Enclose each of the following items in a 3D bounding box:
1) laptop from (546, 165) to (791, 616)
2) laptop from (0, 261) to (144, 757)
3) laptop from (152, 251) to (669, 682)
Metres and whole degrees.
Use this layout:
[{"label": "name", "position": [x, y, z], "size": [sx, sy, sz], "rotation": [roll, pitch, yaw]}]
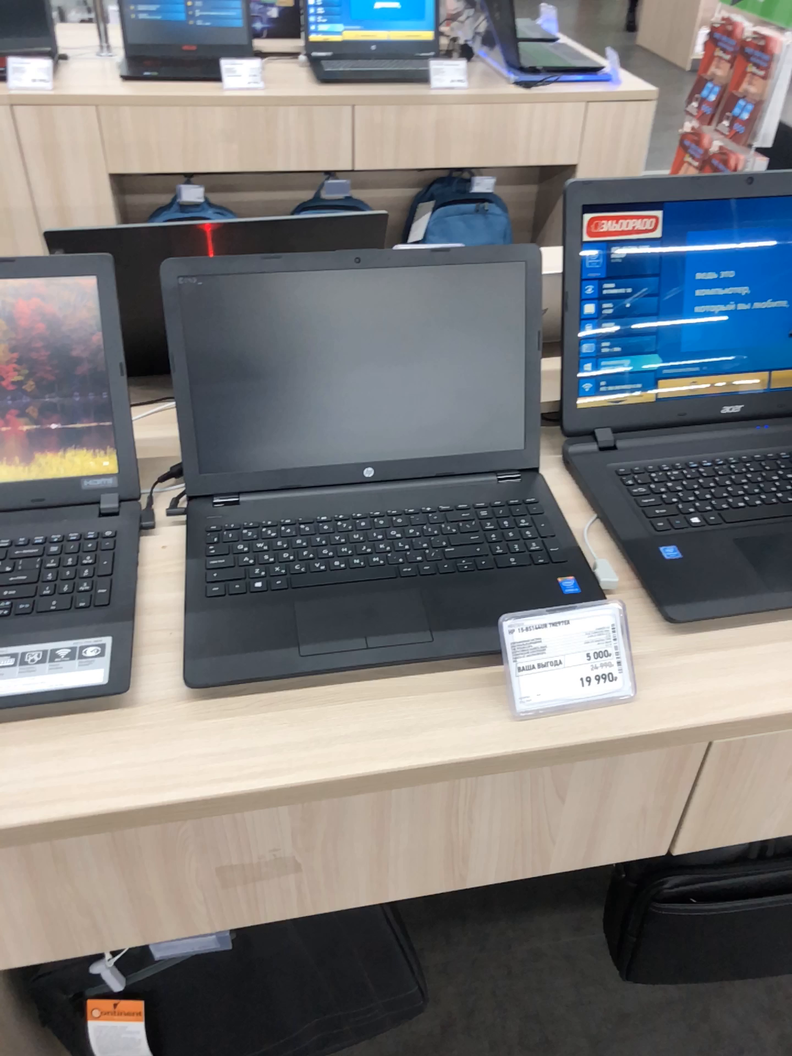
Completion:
[{"label": "laptop", "position": [0.414, -0.168, 0.890], "size": [0.396, 0.267, 0.397], "rotation": [-5, 38, -8]}, {"label": "laptop", "position": [-0.437, -0.047, 0.749], "size": [0.359, 0.226, 0.352], "rotation": [-5, 38, -10]}, {"label": "laptop", "position": [-0.019, -0.079, 0.813], "size": [0.377, 0.215, 0.335], "rotation": [-6, 40, -9]}]
